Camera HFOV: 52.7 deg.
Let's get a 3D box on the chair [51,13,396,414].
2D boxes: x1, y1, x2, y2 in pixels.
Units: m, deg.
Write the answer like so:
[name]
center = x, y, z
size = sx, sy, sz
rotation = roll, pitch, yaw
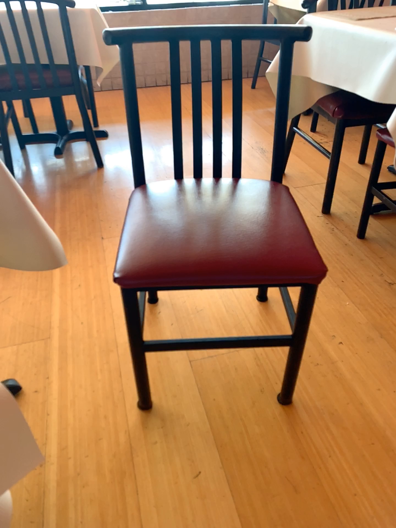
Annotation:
[chair]
center = 0.039, -0.127, 0.933
size = 0.480, 0.726, 0.574
rotation = -1, 37, -4
